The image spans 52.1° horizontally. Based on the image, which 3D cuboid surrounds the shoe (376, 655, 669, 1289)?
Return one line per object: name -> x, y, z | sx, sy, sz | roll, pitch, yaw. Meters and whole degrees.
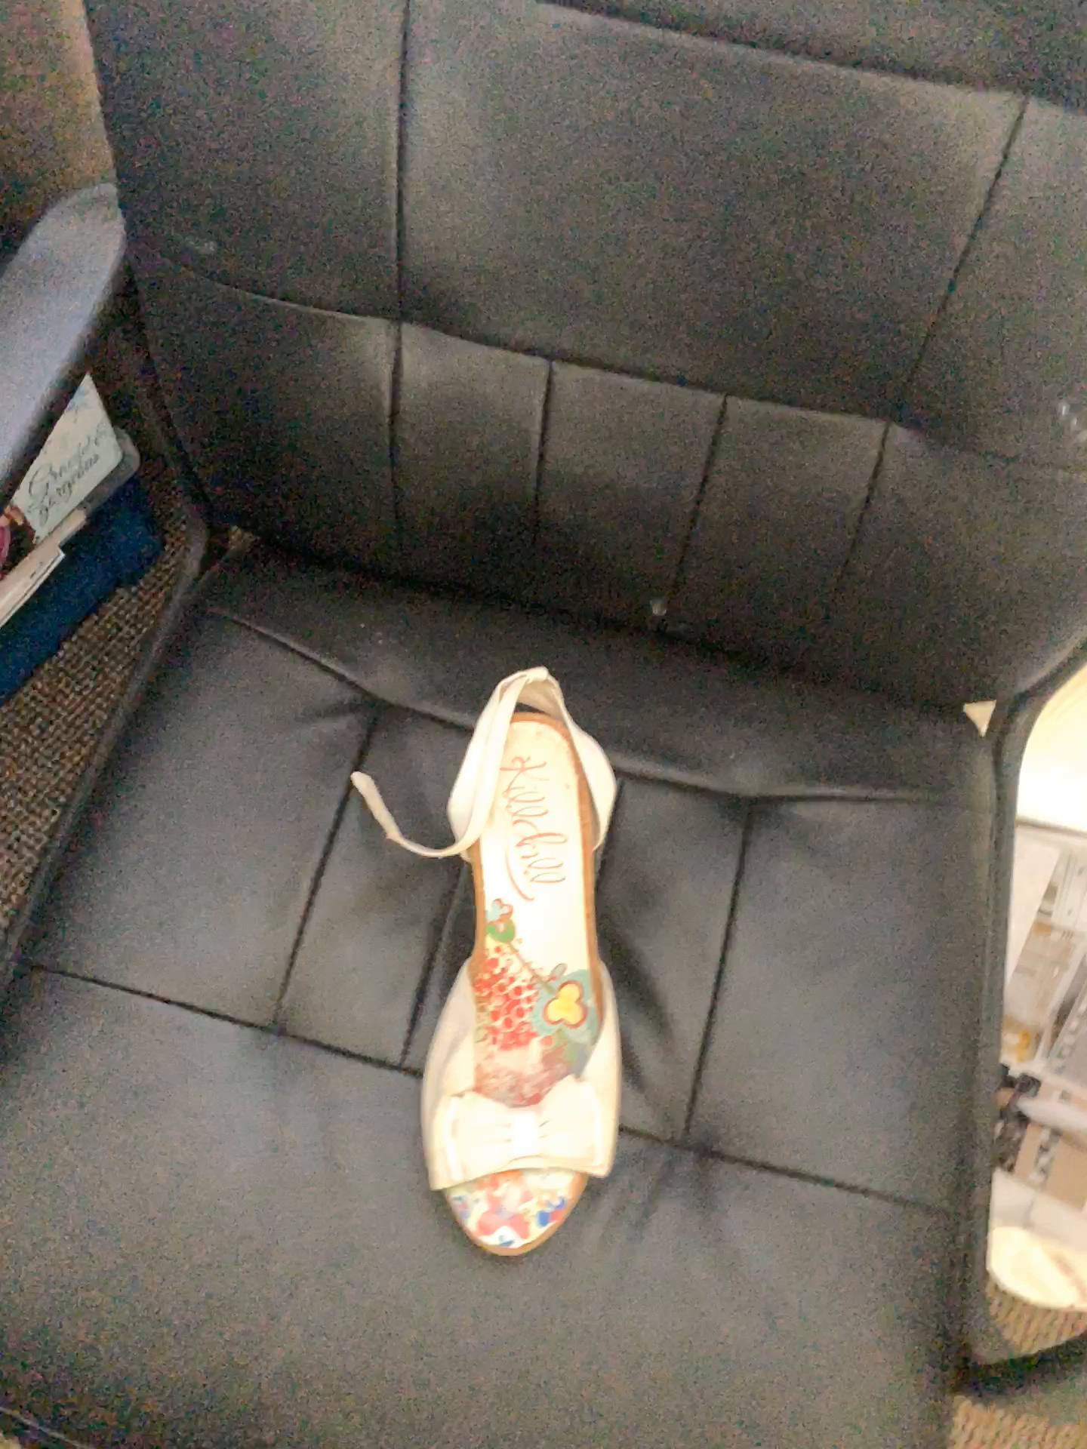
shoe -> -0.010, 0.121, 0.516 | 0.100, 0.189, 0.241 | 3, 65, -3
